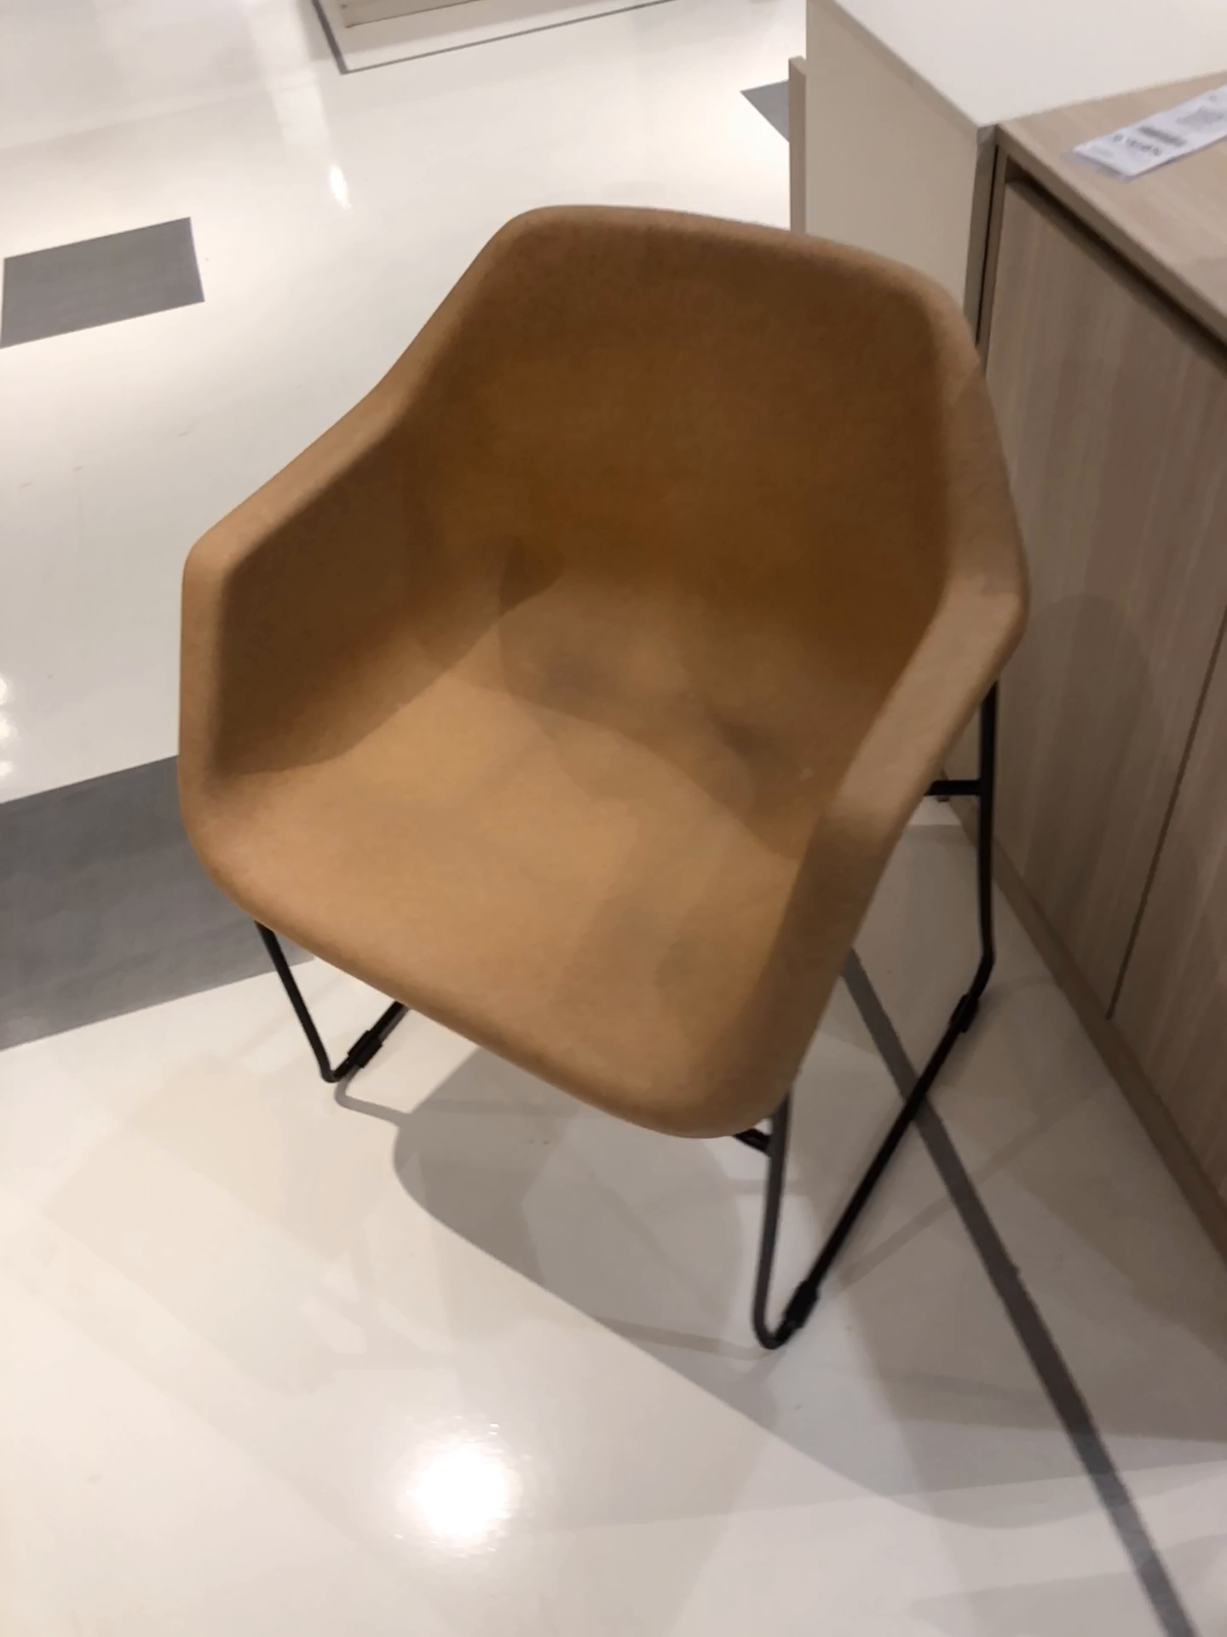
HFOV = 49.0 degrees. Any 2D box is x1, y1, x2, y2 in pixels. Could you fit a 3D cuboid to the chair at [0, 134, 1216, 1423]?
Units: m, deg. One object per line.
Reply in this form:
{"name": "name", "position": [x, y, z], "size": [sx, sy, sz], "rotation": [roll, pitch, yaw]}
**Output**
{"name": "chair", "position": [0.024, -0.039, 1.098], "size": [0.591, 0.705, 0.572], "rotation": [22, 55, 25]}
